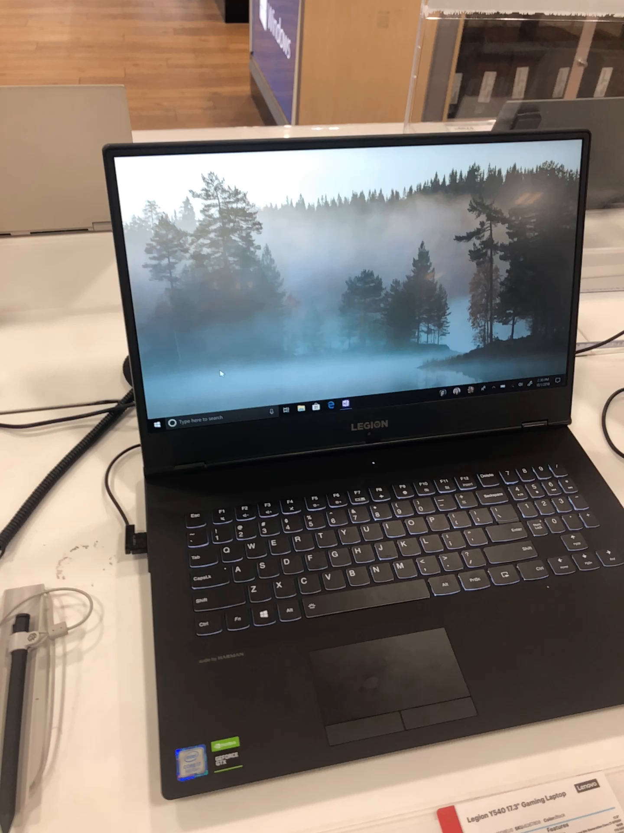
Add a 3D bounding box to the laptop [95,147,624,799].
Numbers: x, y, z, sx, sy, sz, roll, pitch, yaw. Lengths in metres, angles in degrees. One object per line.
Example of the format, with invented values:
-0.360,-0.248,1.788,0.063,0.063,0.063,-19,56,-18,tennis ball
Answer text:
0.066,-0.002,0.487,0.382,0.241,0.359,-6,43,-12,laptop
